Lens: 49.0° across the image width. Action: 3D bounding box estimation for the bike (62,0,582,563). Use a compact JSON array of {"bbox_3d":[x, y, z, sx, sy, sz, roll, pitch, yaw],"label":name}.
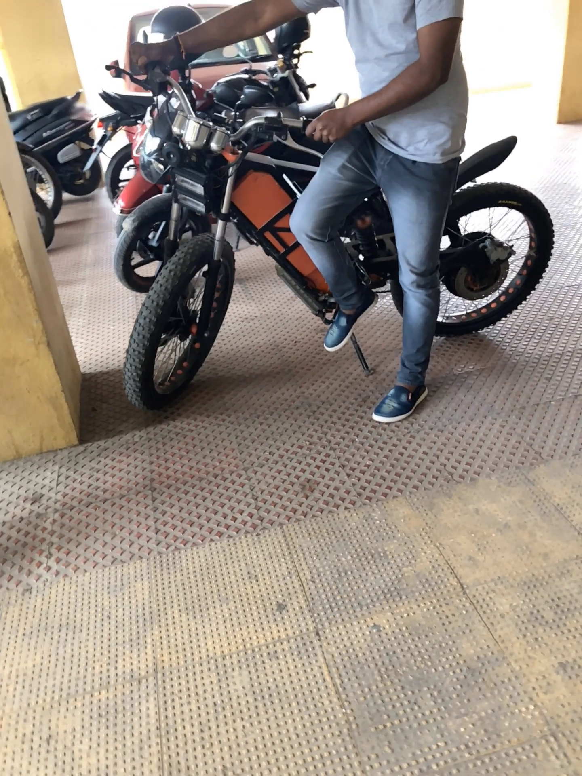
[{"bbox_3d":[0.247,-0.444,2.192,1.750,1.185,0.757,-18,31,-13],"label":"bike"}]
